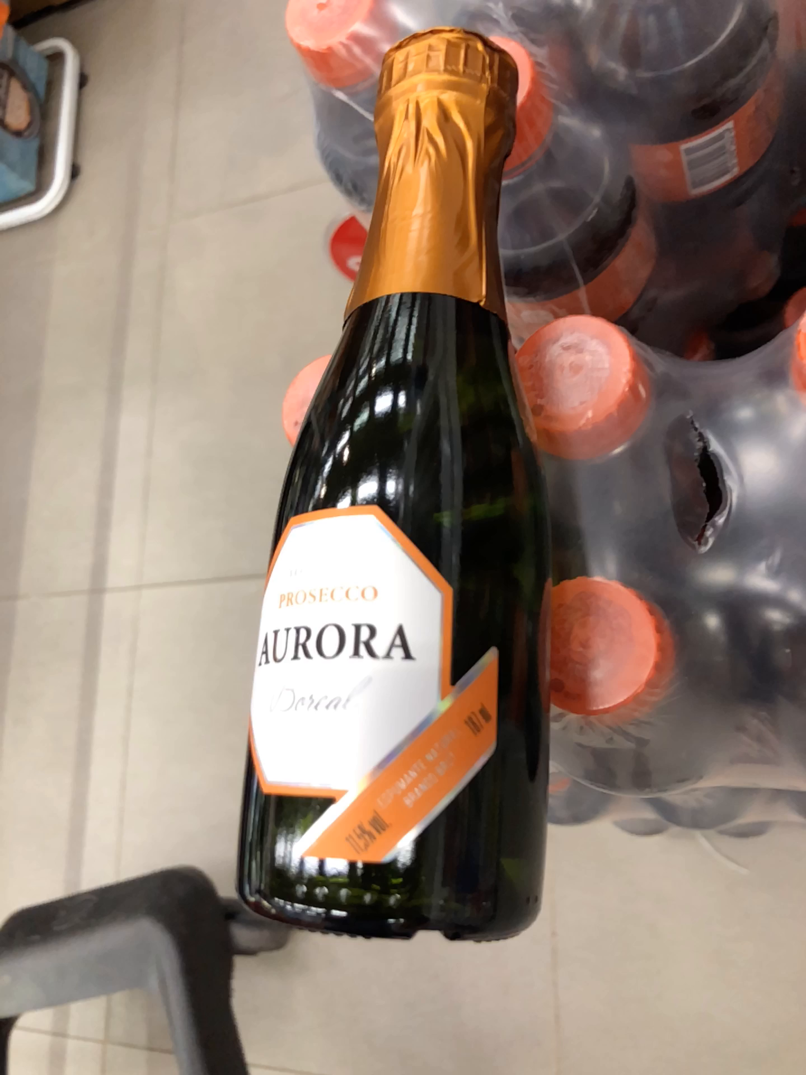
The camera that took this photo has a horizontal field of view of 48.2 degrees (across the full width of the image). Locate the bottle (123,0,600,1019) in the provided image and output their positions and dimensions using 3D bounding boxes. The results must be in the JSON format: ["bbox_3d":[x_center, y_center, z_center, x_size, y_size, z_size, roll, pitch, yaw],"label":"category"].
[{"bbox_3d":[0.000,-0.019,0.171,0.060,0.050,0.180,0,78,23],"label":"bottle"}]
